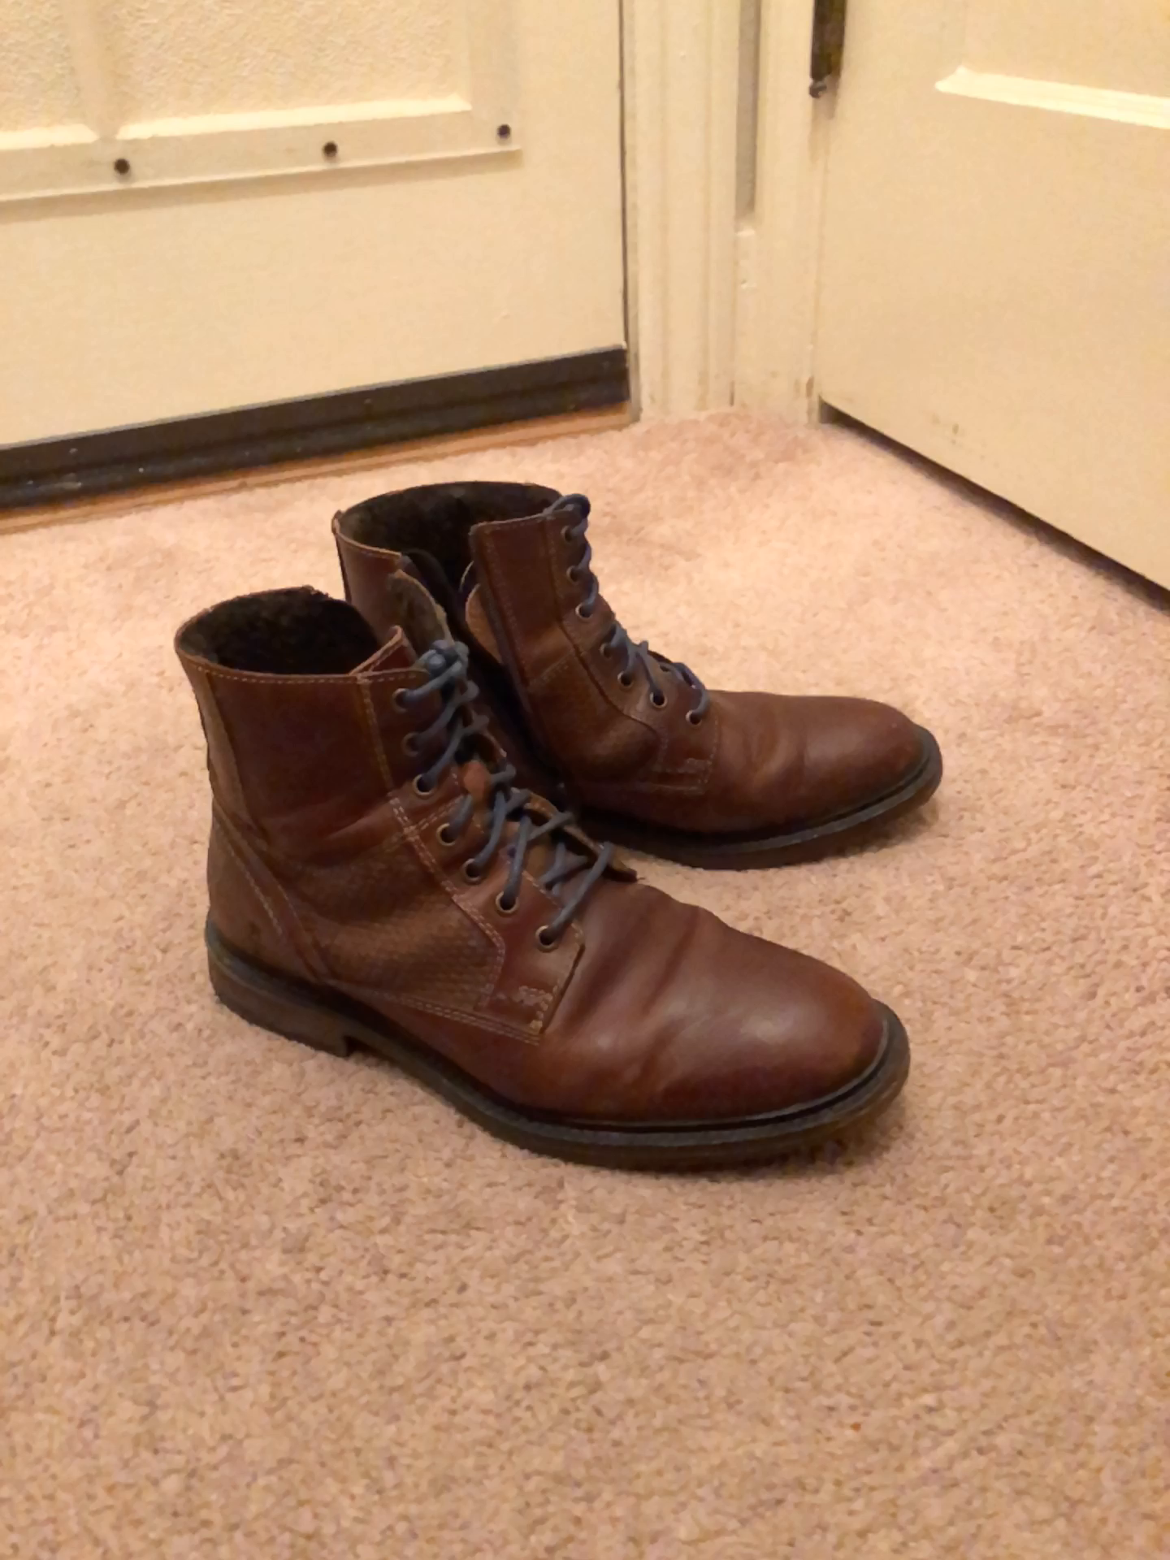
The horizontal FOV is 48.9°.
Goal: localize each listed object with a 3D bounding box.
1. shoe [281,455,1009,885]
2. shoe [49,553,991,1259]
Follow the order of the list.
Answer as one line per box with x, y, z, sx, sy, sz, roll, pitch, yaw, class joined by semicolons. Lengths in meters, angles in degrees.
0.028;-0.052;0.626;0.301;0.172;0.111;-1;33;3;shoe
-0.025;0.035;0.501;0.316;0.172;0.113;12;36;21;shoe
